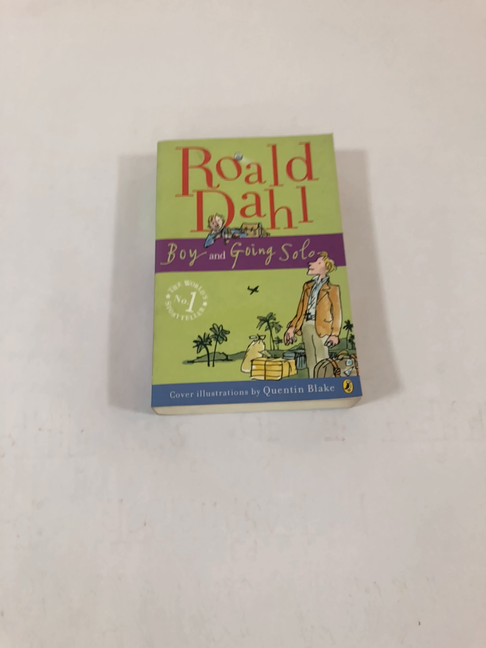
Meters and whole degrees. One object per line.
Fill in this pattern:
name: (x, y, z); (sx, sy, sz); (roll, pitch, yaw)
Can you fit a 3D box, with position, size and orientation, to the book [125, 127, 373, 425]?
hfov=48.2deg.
book: (-0.001, -0.037, 0.356); (0.140, 0.036, 0.193); (-2, 70, -2)
